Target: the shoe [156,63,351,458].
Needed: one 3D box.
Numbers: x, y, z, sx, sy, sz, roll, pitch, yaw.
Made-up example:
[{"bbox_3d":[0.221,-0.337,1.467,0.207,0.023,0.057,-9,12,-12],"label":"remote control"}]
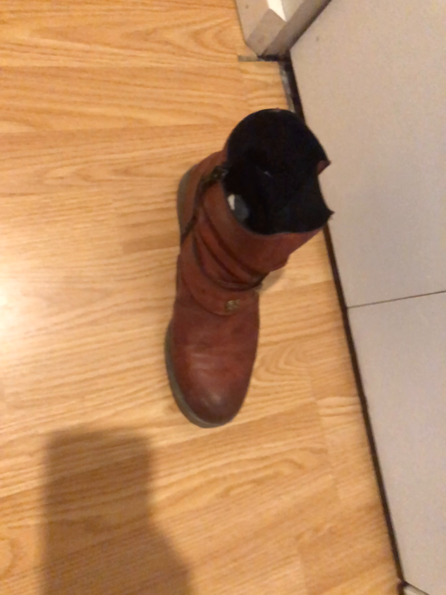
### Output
[{"bbox_3d":[0.016,-0.018,0.430,0.100,0.170,0.270,4,82,-21],"label":"shoe"}]
